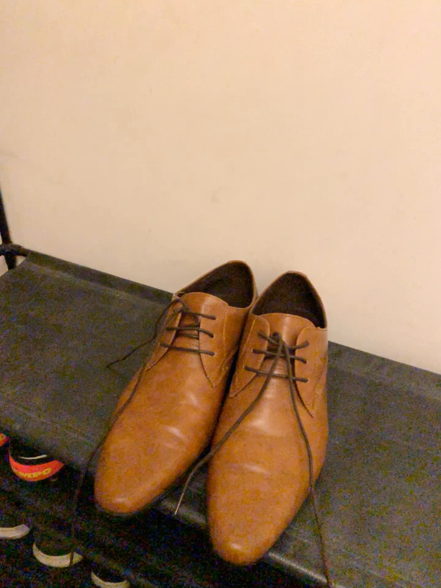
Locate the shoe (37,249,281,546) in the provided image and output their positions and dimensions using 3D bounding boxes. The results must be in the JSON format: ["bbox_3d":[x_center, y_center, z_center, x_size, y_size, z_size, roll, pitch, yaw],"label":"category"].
[{"bbox_3d":[-0.034,0.071,0.464,0.100,0.099,0.303,15,35,17],"label":"shoe"}]

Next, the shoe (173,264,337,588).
[{"bbox_3d":[0.051,0.092,0.447,0.100,0.099,0.303,10,34,10],"label":"shoe"}]
